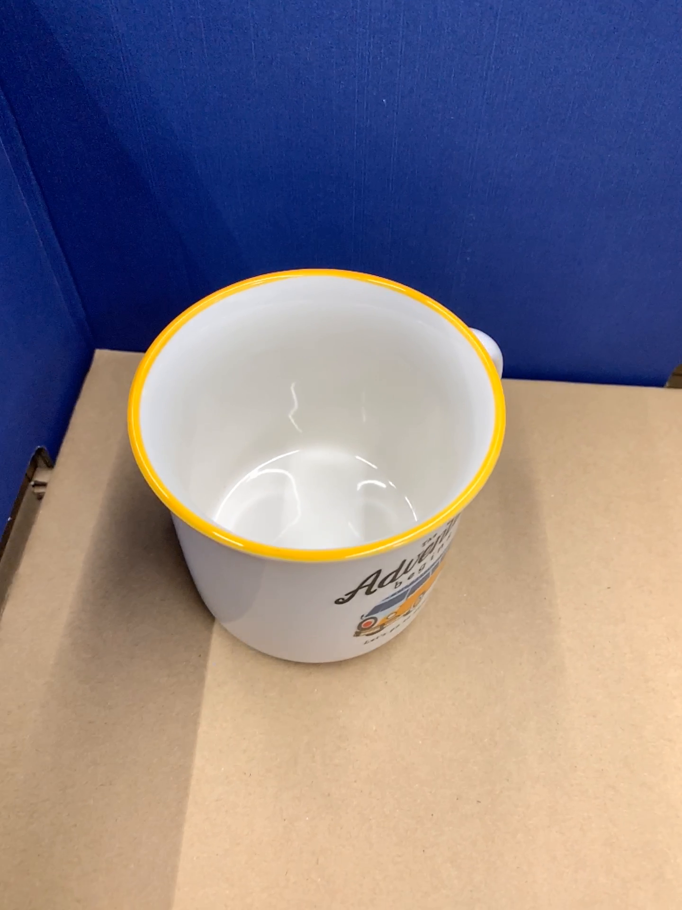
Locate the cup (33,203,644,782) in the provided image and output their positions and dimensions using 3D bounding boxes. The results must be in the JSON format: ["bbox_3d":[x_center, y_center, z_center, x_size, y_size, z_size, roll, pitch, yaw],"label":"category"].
[{"bbox_3d":[0.000,0.005,0.219,0.124,0.083,0.102,-36,61,-25],"label":"cup"}]
